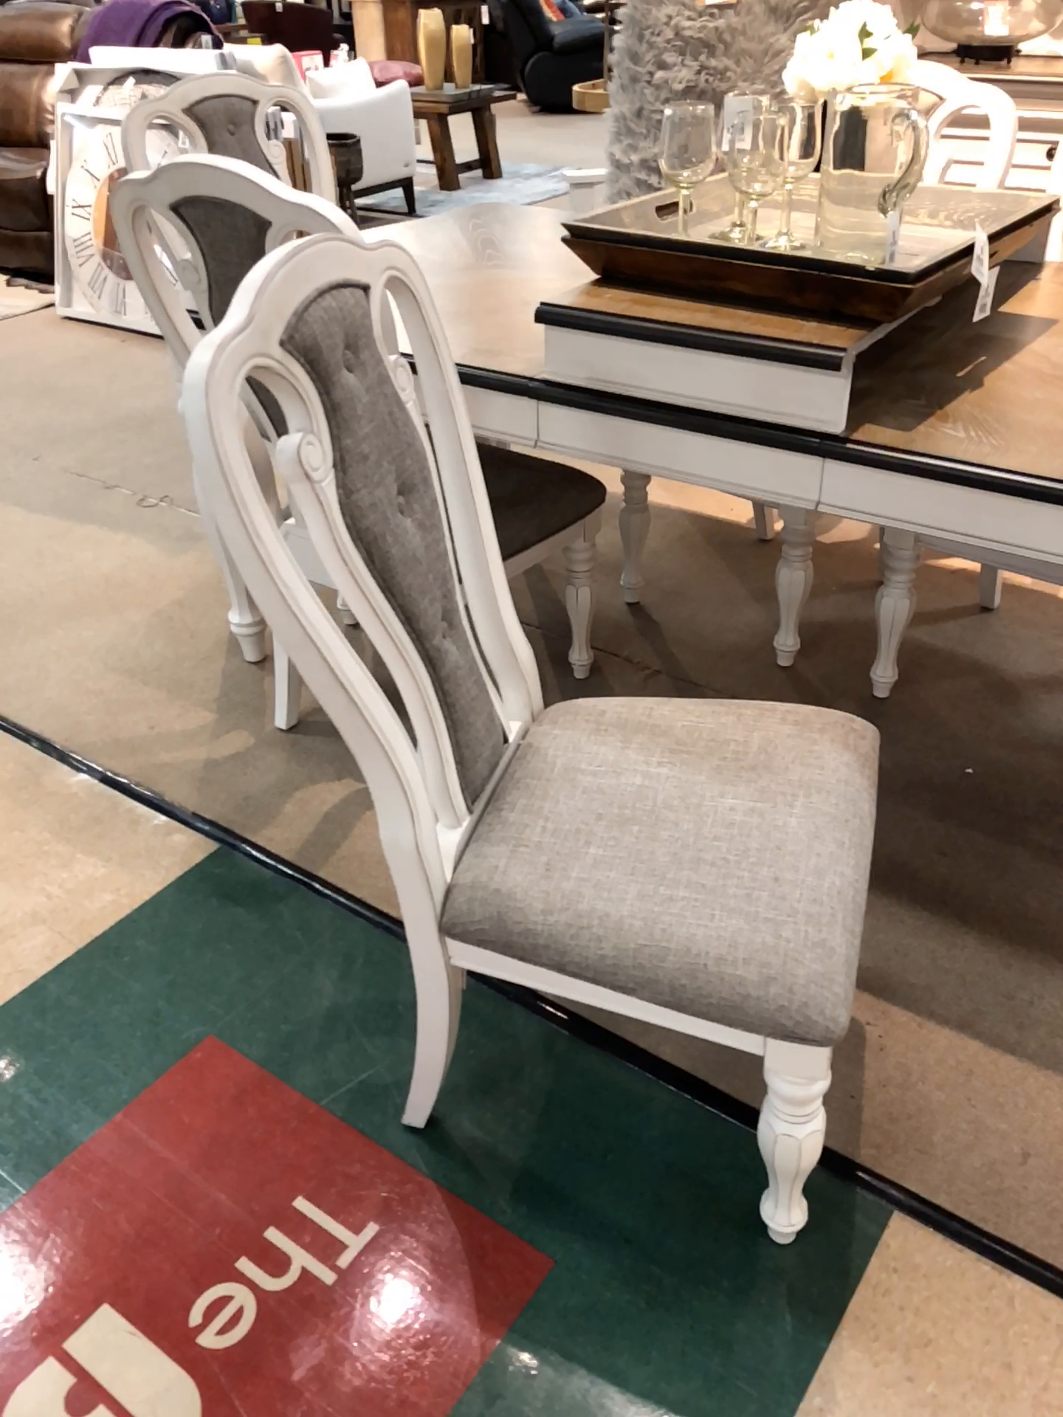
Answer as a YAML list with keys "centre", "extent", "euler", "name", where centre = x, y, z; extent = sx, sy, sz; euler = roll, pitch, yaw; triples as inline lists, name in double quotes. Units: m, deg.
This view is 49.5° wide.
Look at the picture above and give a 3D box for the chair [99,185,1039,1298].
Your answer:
- centre: [0.089, 0.021, 1.287]
  extent: [0.671, 1.013, 0.553]
  euler: [8, 35, 16]
  name: "chair"
